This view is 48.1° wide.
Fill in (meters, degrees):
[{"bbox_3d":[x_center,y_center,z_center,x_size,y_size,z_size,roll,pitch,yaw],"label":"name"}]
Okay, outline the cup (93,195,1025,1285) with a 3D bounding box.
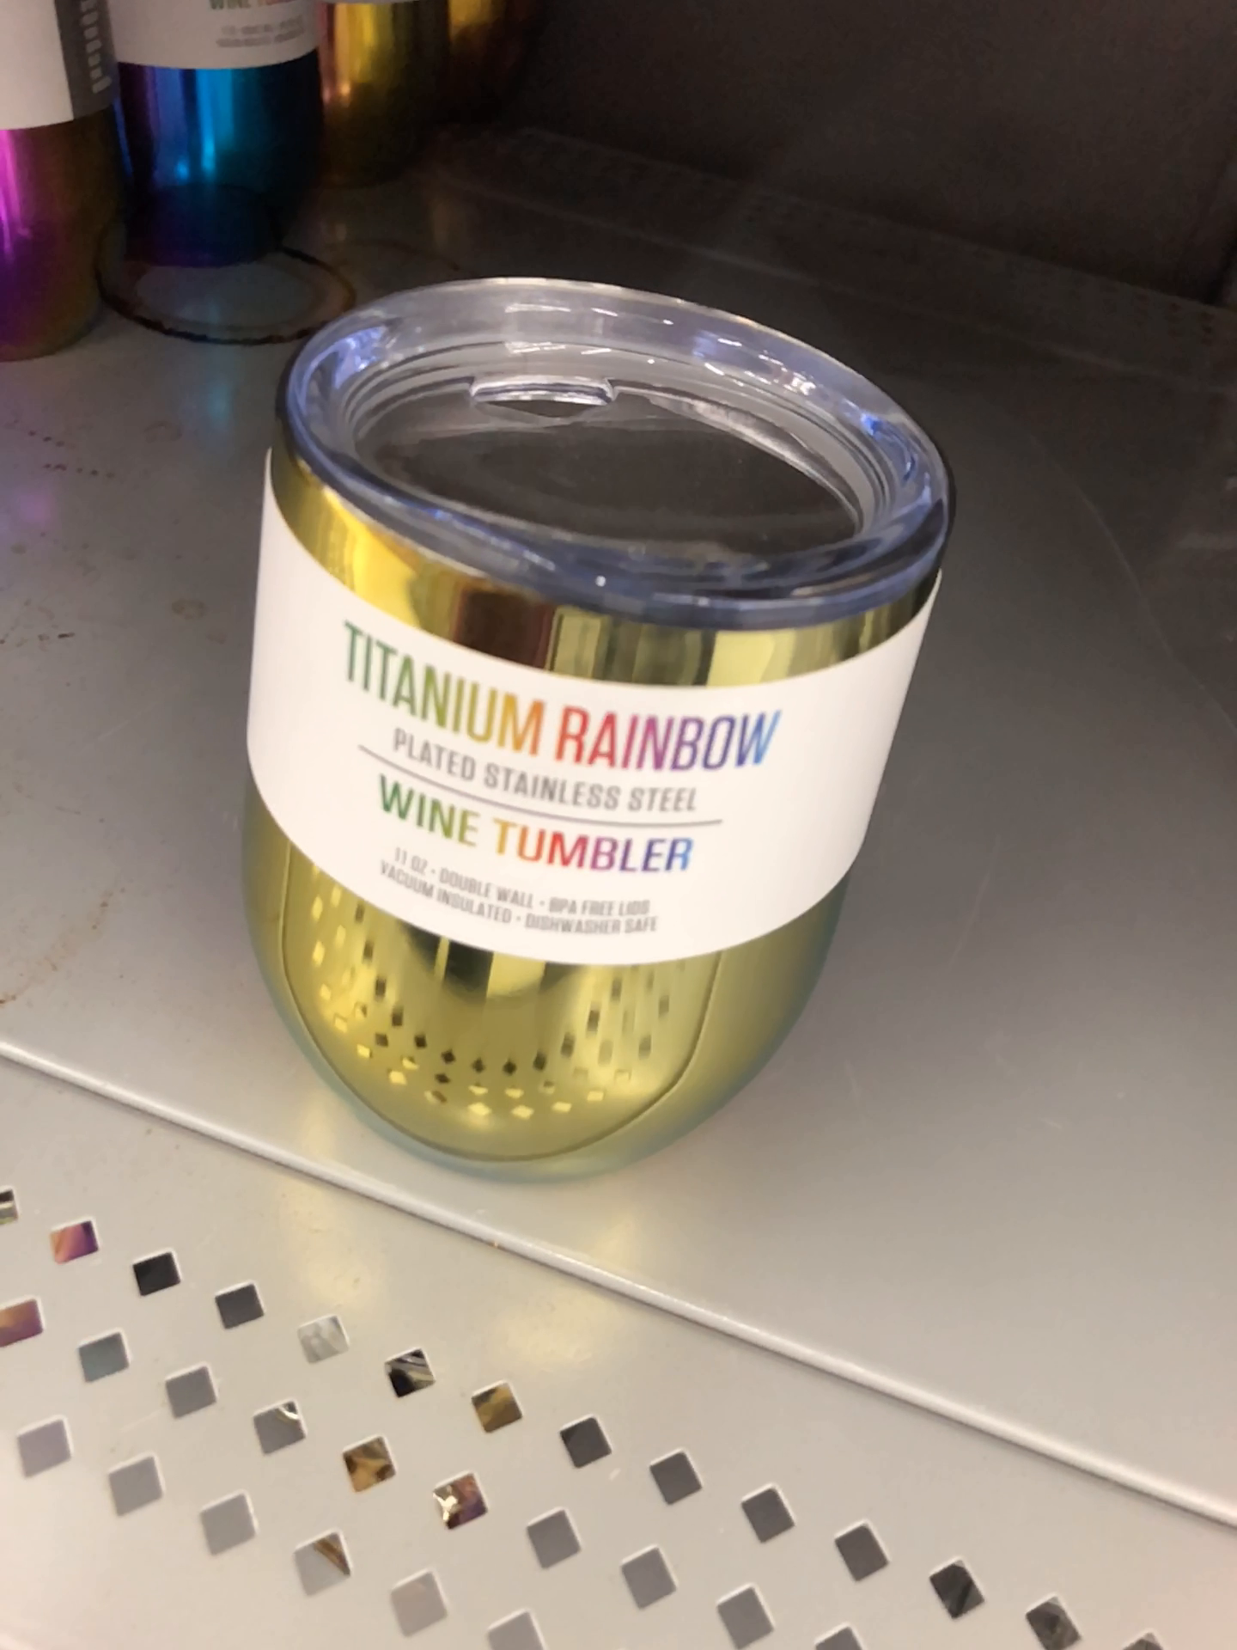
[{"bbox_3d":[-0.007,-0.010,0.192,0.086,0.108,0.076,17,43,5],"label":"cup"}]
